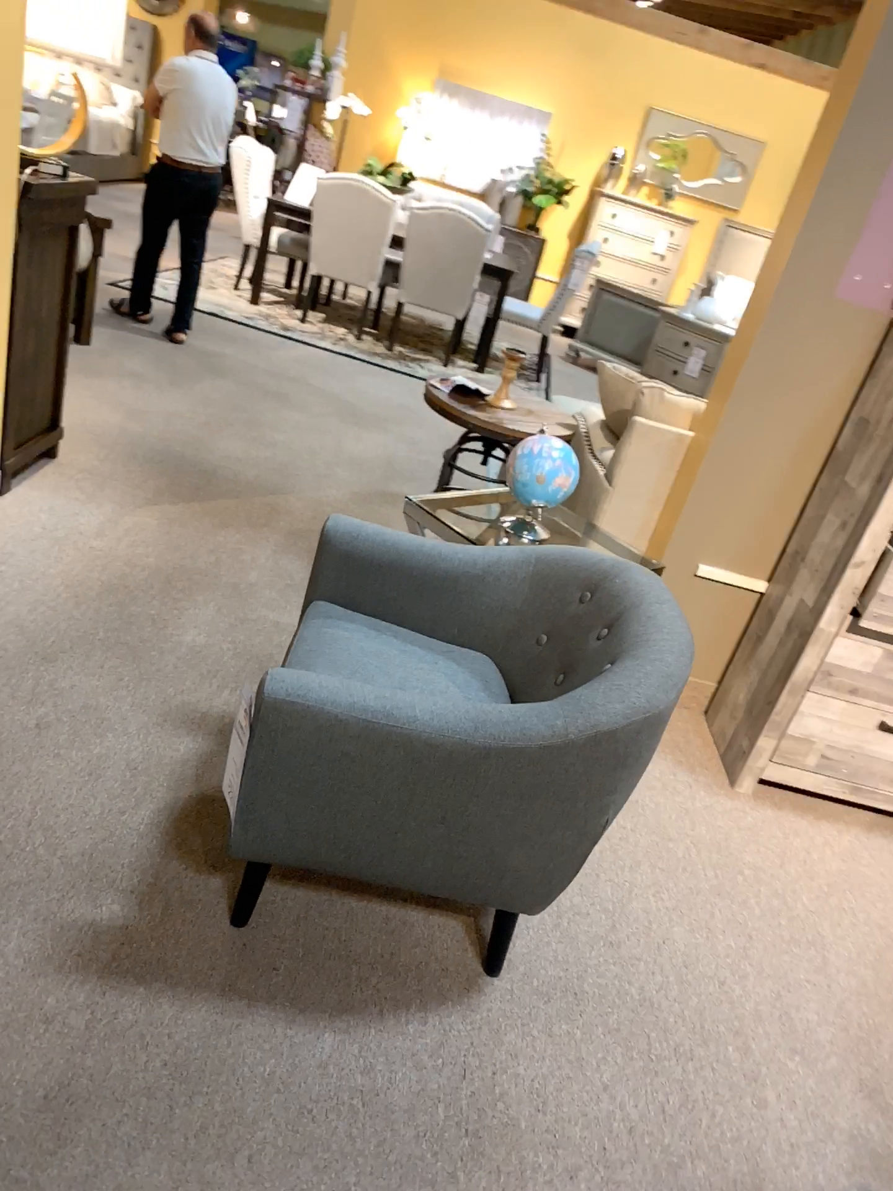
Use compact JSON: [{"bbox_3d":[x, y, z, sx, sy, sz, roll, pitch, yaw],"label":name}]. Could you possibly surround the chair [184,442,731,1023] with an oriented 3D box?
[{"bbox_3d":[0.000,0.224,1.837,0.741,0.702,0.751,15,25,-4],"label":"chair"}]
